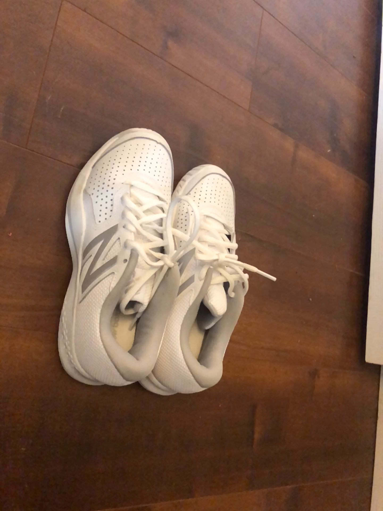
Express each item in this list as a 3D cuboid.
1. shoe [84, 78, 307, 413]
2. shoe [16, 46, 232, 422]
[{"bbox_3d":[0.004,-0.006,0.486,0.120,0.169,0.310,21,75,-32],"label":"shoe"},{"bbox_3d":[-0.065,-0.016,0.416,0.100,0.130,0.310,18,76,-35],"label":"shoe"}]
